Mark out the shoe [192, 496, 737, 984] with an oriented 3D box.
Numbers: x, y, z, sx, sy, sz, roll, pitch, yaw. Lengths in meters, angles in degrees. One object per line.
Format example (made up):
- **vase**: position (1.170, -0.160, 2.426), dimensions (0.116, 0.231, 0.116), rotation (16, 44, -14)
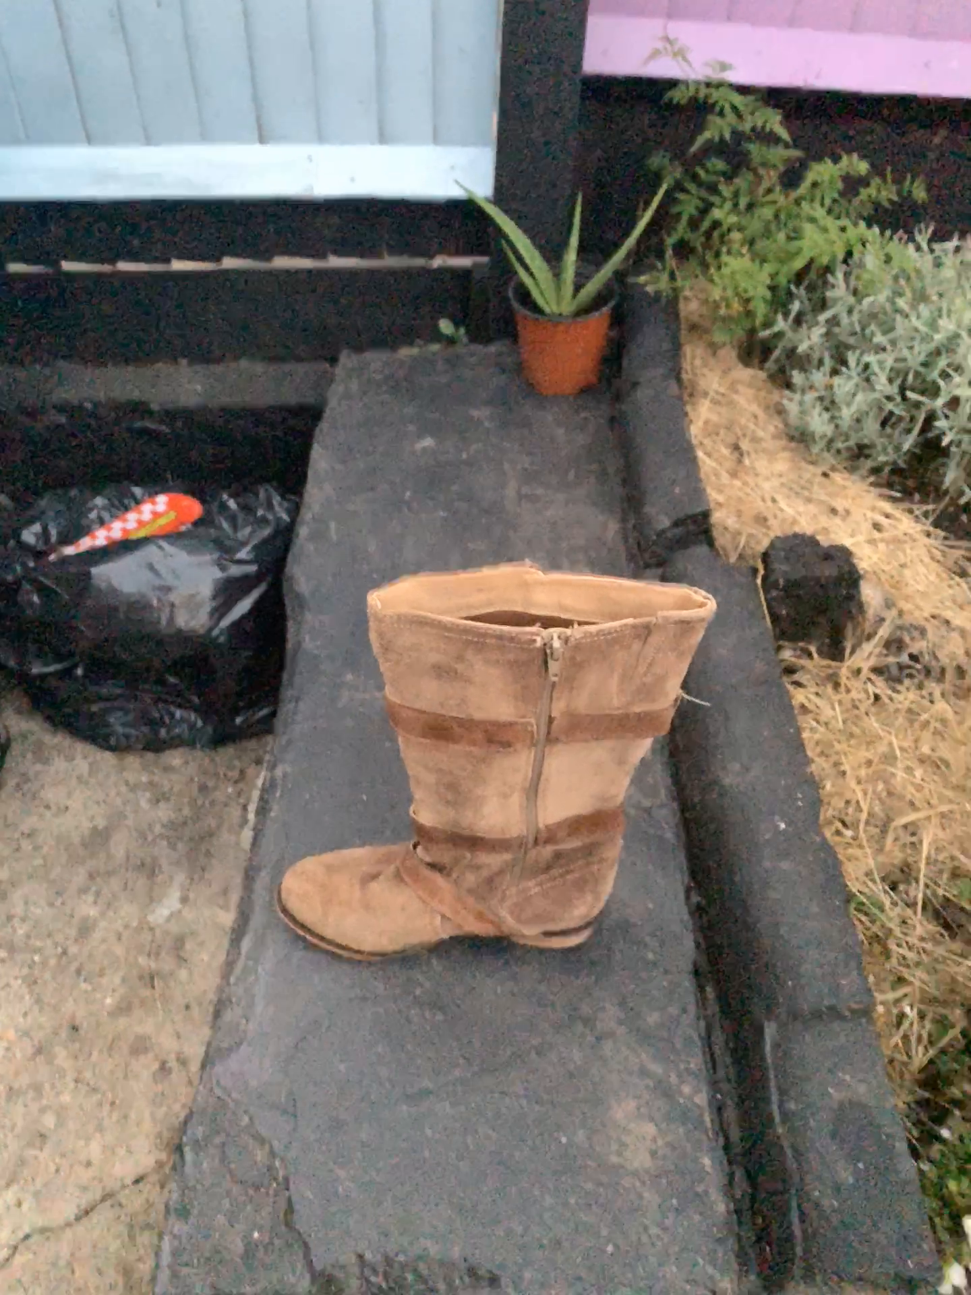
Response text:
- **shoe**: position (-0.015, 0.086, 0.663), dimensions (0.270, 0.376, 0.101), rotation (2, 46, -1)
